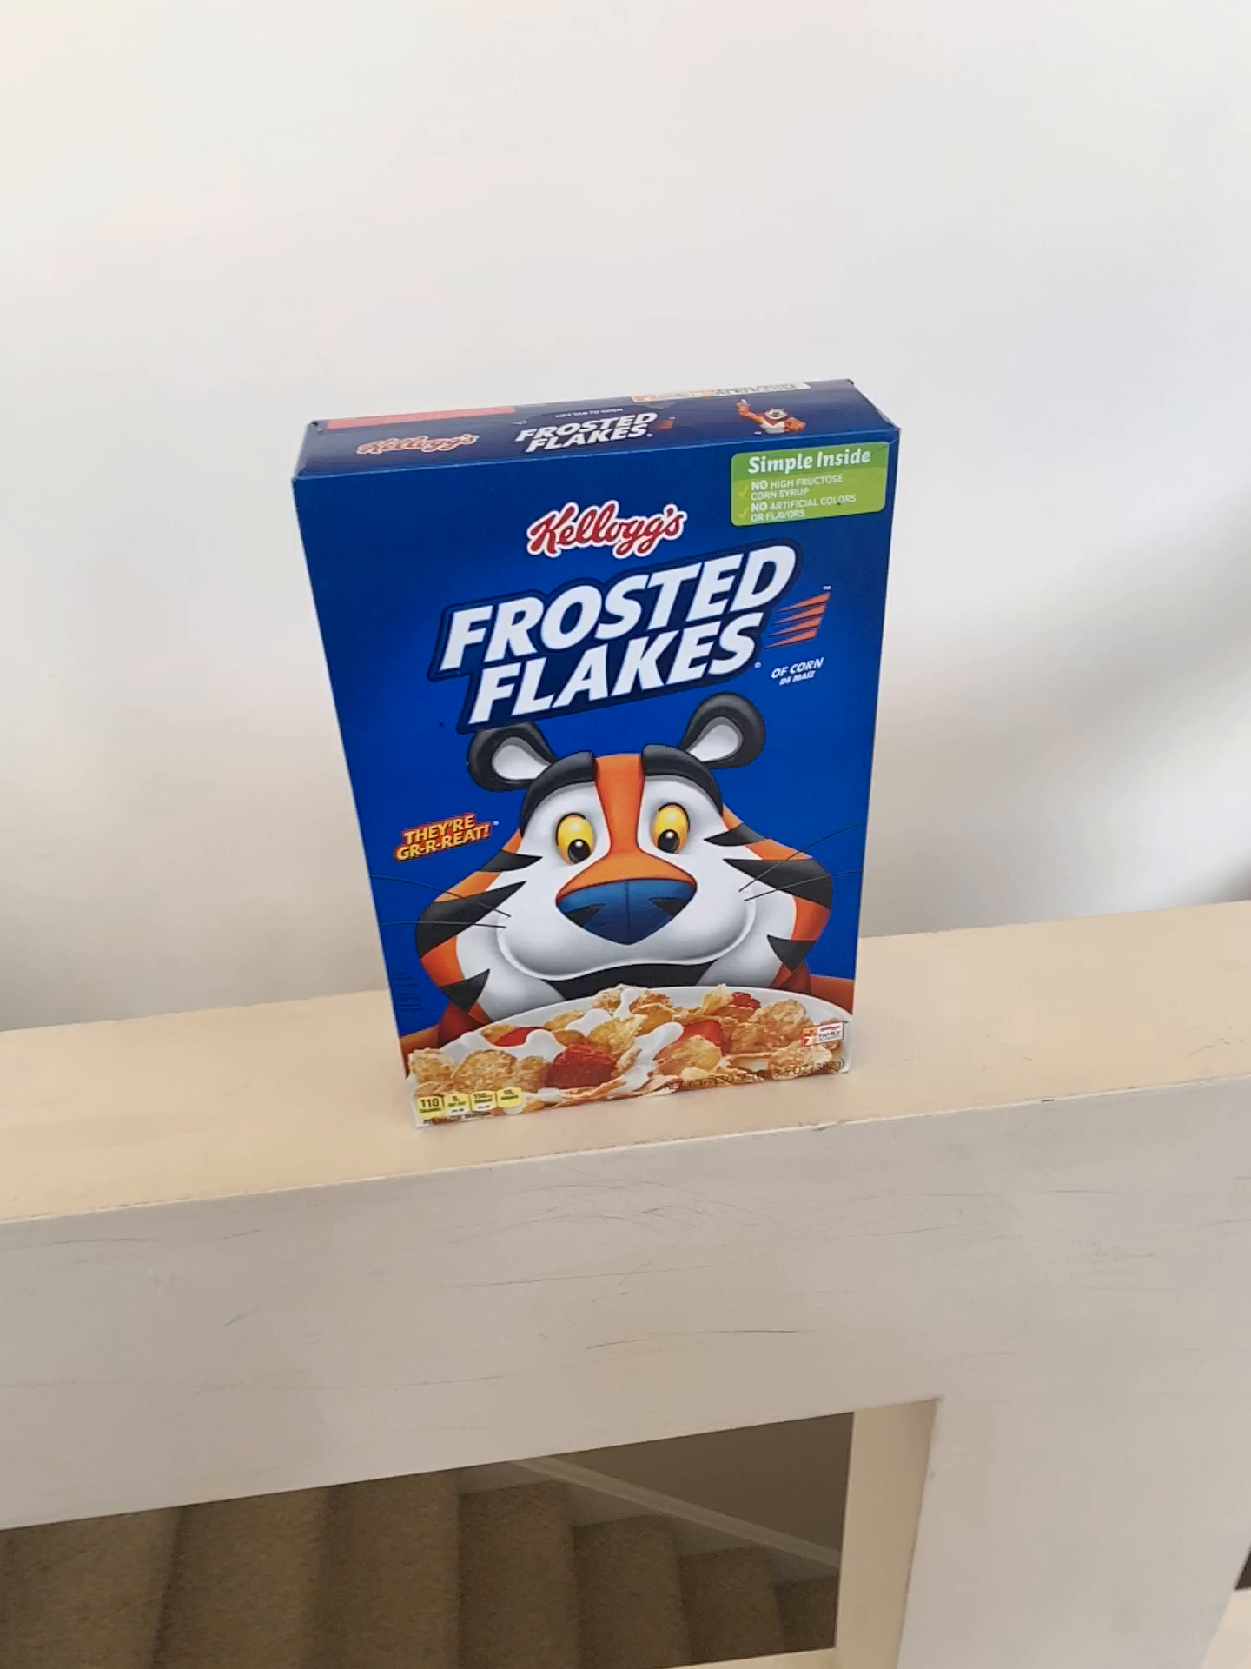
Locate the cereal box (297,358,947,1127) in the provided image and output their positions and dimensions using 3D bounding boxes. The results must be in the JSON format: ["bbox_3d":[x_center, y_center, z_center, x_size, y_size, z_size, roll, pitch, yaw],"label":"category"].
[{"bbox_3d":[0.003,-0.021,0.498,0.200,0.288,0.060,-6,35,-5],"label":"cereal box"}]
